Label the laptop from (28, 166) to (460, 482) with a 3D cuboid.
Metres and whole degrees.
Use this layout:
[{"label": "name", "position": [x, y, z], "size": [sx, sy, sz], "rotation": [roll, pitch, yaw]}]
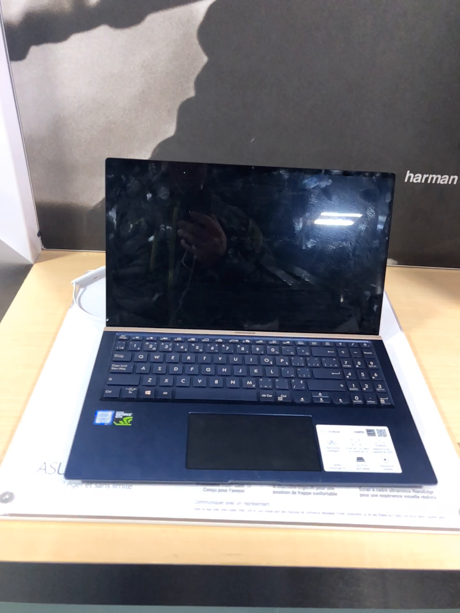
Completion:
[{"label": "laptop", "position": [0.023, -0.002, 0.517], "size": [0.330, 0.173, 0.294], "rotation": [2, 36, -2]}]
